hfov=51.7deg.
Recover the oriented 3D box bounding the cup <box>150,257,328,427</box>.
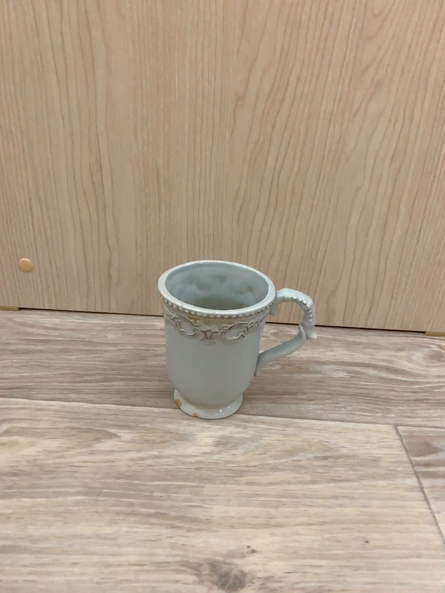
[{"bbox_3d":[0.005,0.034,0.361,0.118,0.102,0.083,1,27,-6],"label":"cup"}]
